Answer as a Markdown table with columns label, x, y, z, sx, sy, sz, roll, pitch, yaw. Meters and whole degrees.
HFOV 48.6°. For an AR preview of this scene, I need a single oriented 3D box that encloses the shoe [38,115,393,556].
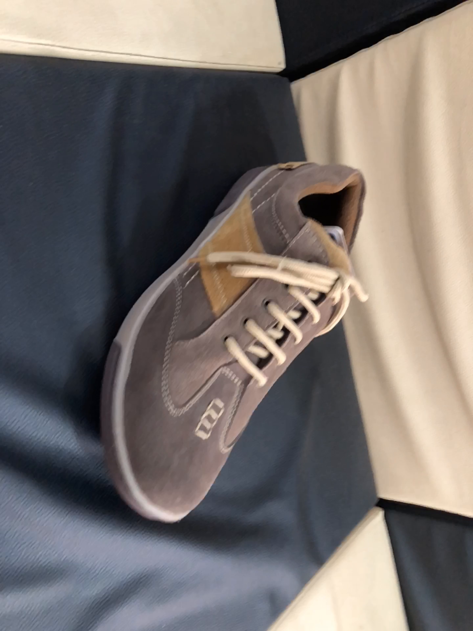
| label | x | y | z | sx | sy | sz | roll | pitch | yaw |
| --- | --- | --- | --- | --- | --- | --- | --- | --- | --- |
| shoe | 0.010 | -0.007 | 0.364 | 0.100 | 0.079 | 0.291 | 52 | 53 | -29 |
